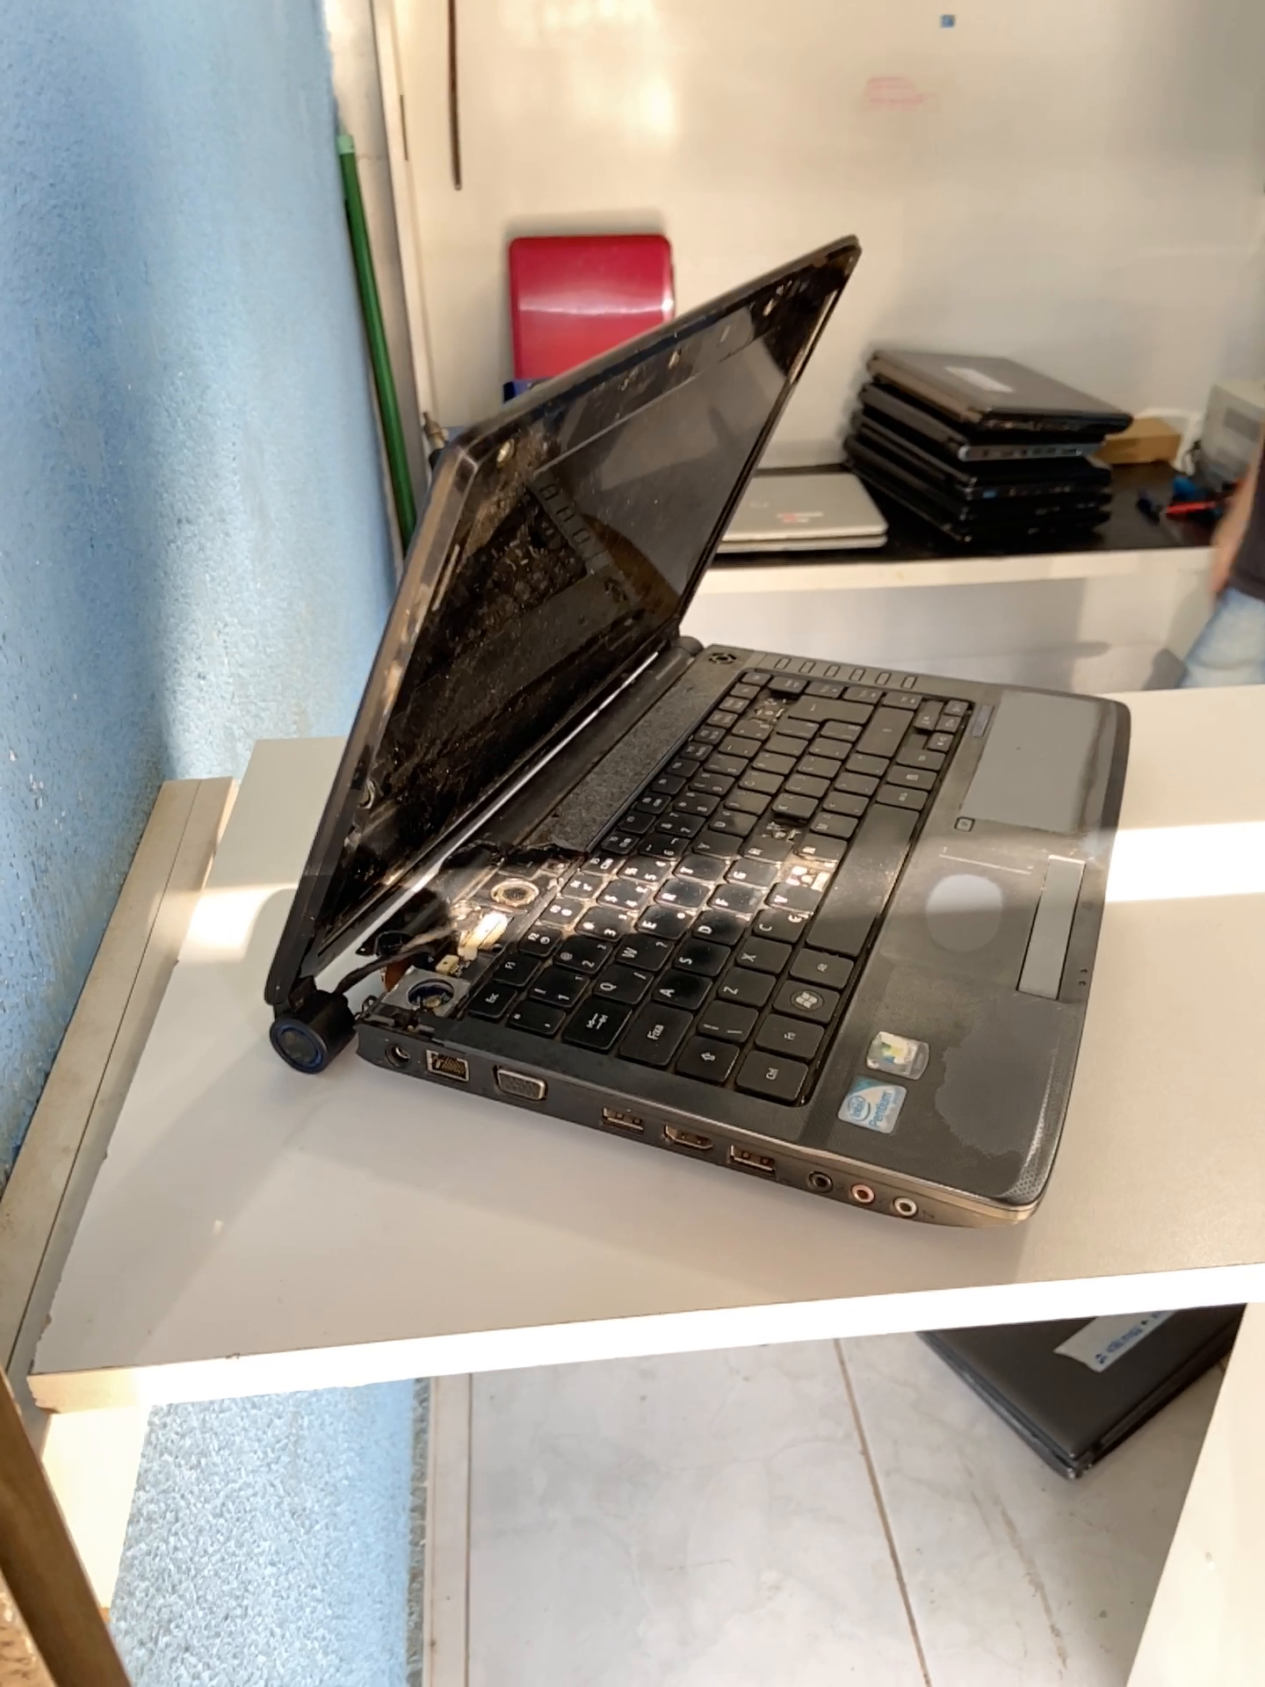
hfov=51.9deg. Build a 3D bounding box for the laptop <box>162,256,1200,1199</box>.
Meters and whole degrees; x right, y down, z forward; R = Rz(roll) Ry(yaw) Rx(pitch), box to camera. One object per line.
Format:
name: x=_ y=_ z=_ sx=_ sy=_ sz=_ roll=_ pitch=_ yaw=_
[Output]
laptop: x=0.058 y=-0.086 z=0.467 sx=0.228 sy=0.182 sz=0.336 roll=11 pitch=33 yaw=20
